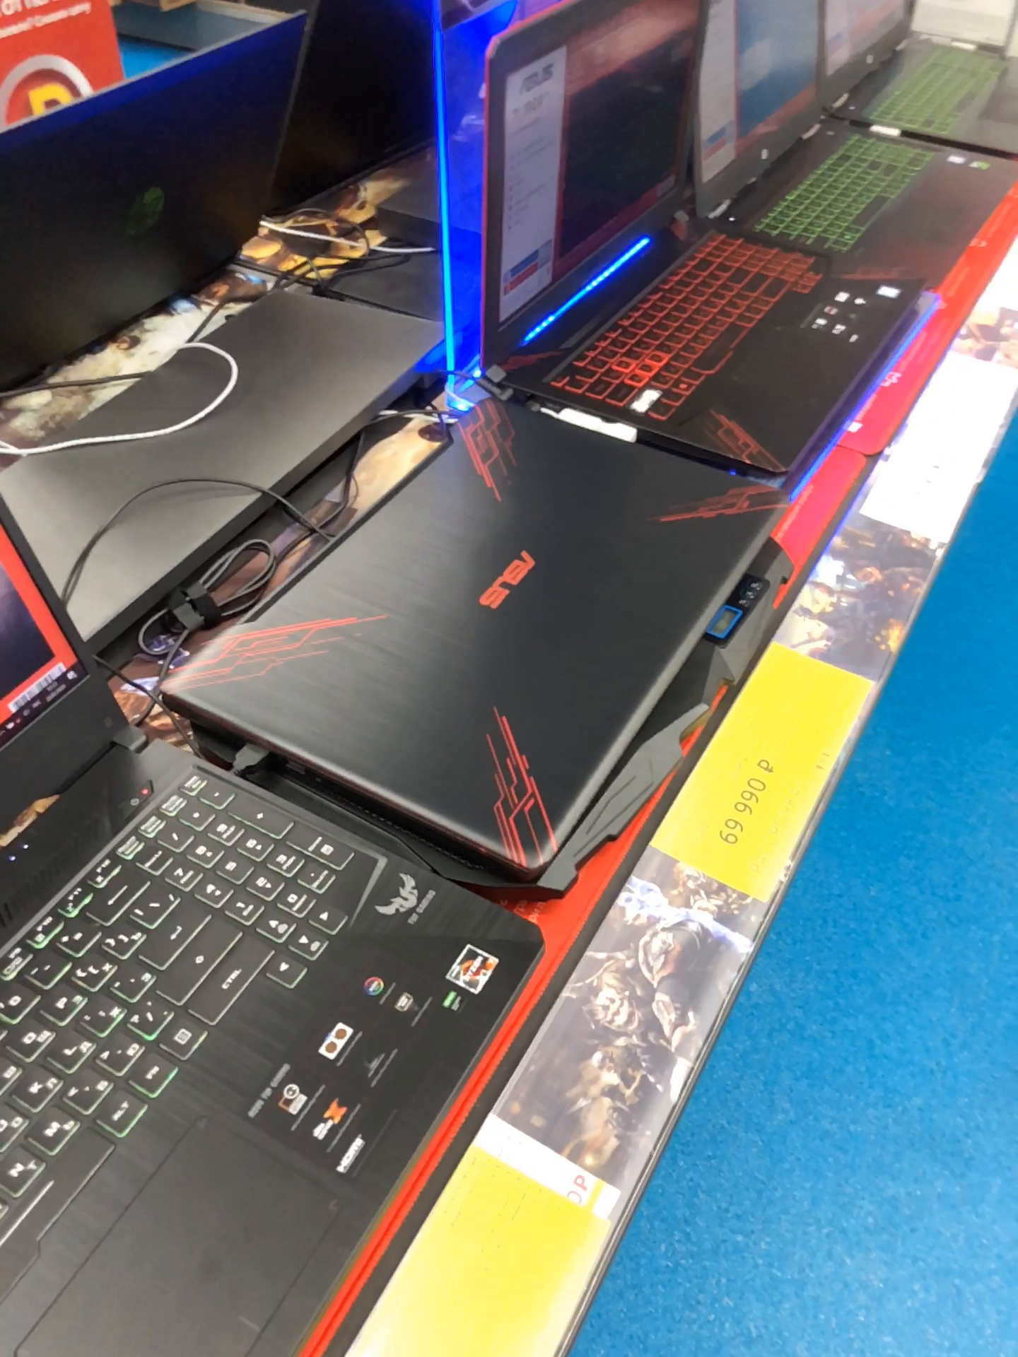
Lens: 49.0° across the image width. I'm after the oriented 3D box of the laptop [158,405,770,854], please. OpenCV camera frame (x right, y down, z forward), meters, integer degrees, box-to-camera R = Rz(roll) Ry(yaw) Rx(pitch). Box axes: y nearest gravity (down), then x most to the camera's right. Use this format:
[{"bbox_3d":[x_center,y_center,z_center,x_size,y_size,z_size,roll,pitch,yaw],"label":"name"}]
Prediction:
[{"bbox_3d":[-0.012,-0.063,0.725,0.239,0.003,0.359,23,49,22],"label":"laptop"}]
